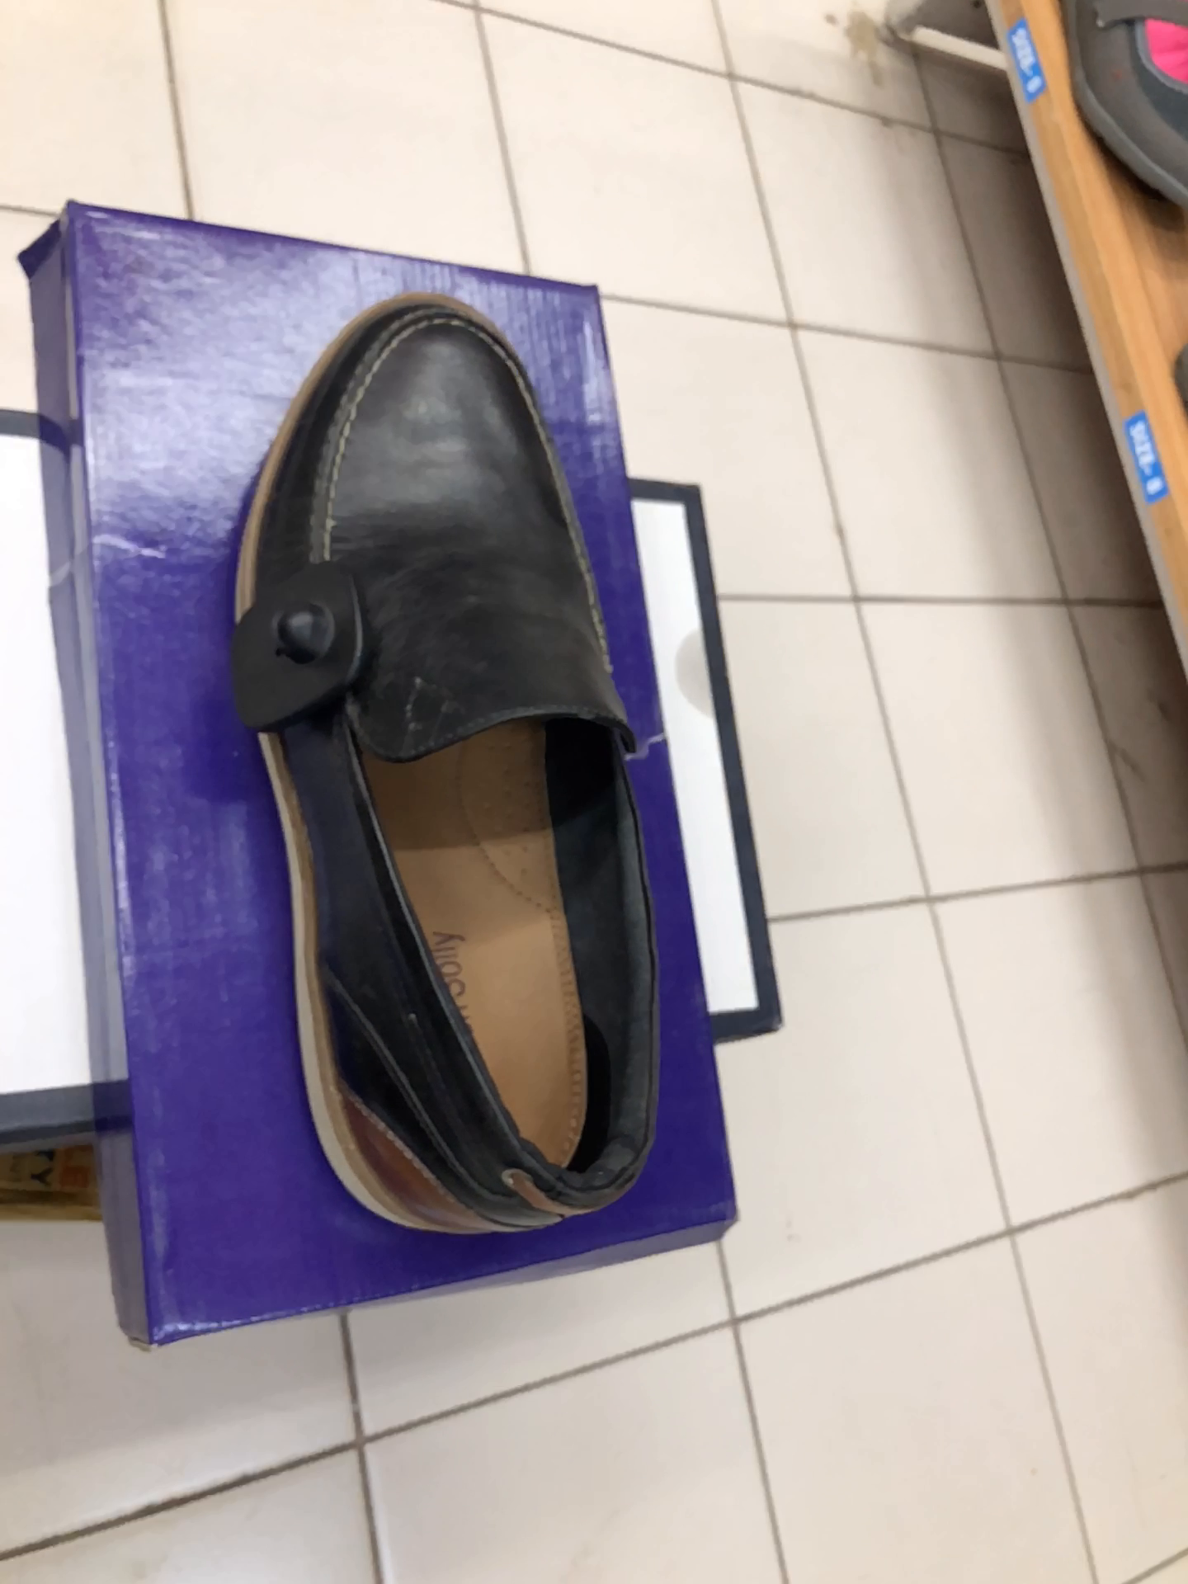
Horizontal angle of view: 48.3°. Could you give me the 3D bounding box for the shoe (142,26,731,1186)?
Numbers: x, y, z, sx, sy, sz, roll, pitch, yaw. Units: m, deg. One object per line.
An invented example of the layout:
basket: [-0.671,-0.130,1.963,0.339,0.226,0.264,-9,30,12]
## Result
shoe: [-0.058,-0.048,0.393,0.100,0.109,0.300,-2,75,-30]
